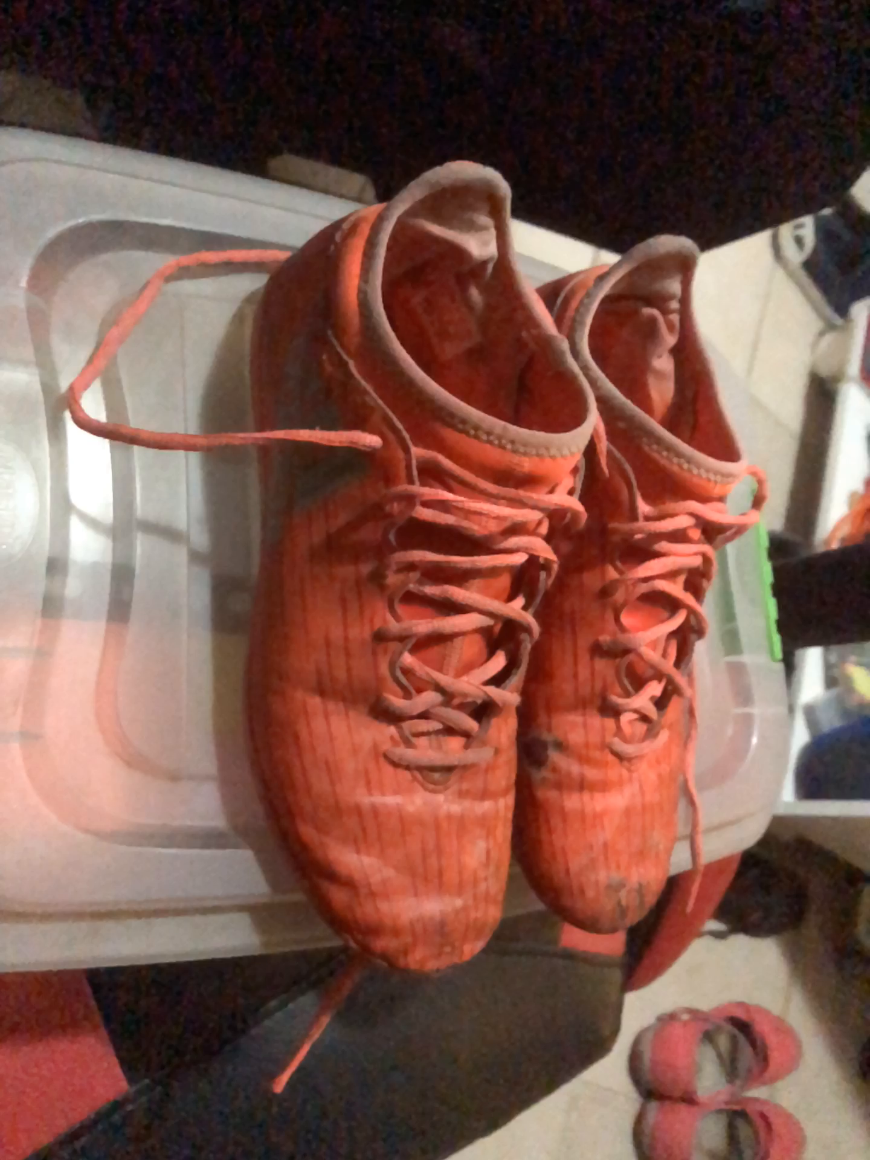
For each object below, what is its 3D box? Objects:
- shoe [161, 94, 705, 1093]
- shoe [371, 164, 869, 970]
[{"bbox_3d":[-0.012,0.005,0.308,0.090,0.129,0.240,-1,81,-35],"label":"shoe"},{"bbox_3d":[0.060,0.000,0.362,0.090,0.129,0.240,-1,81,-35],"label":"shoe"}]
